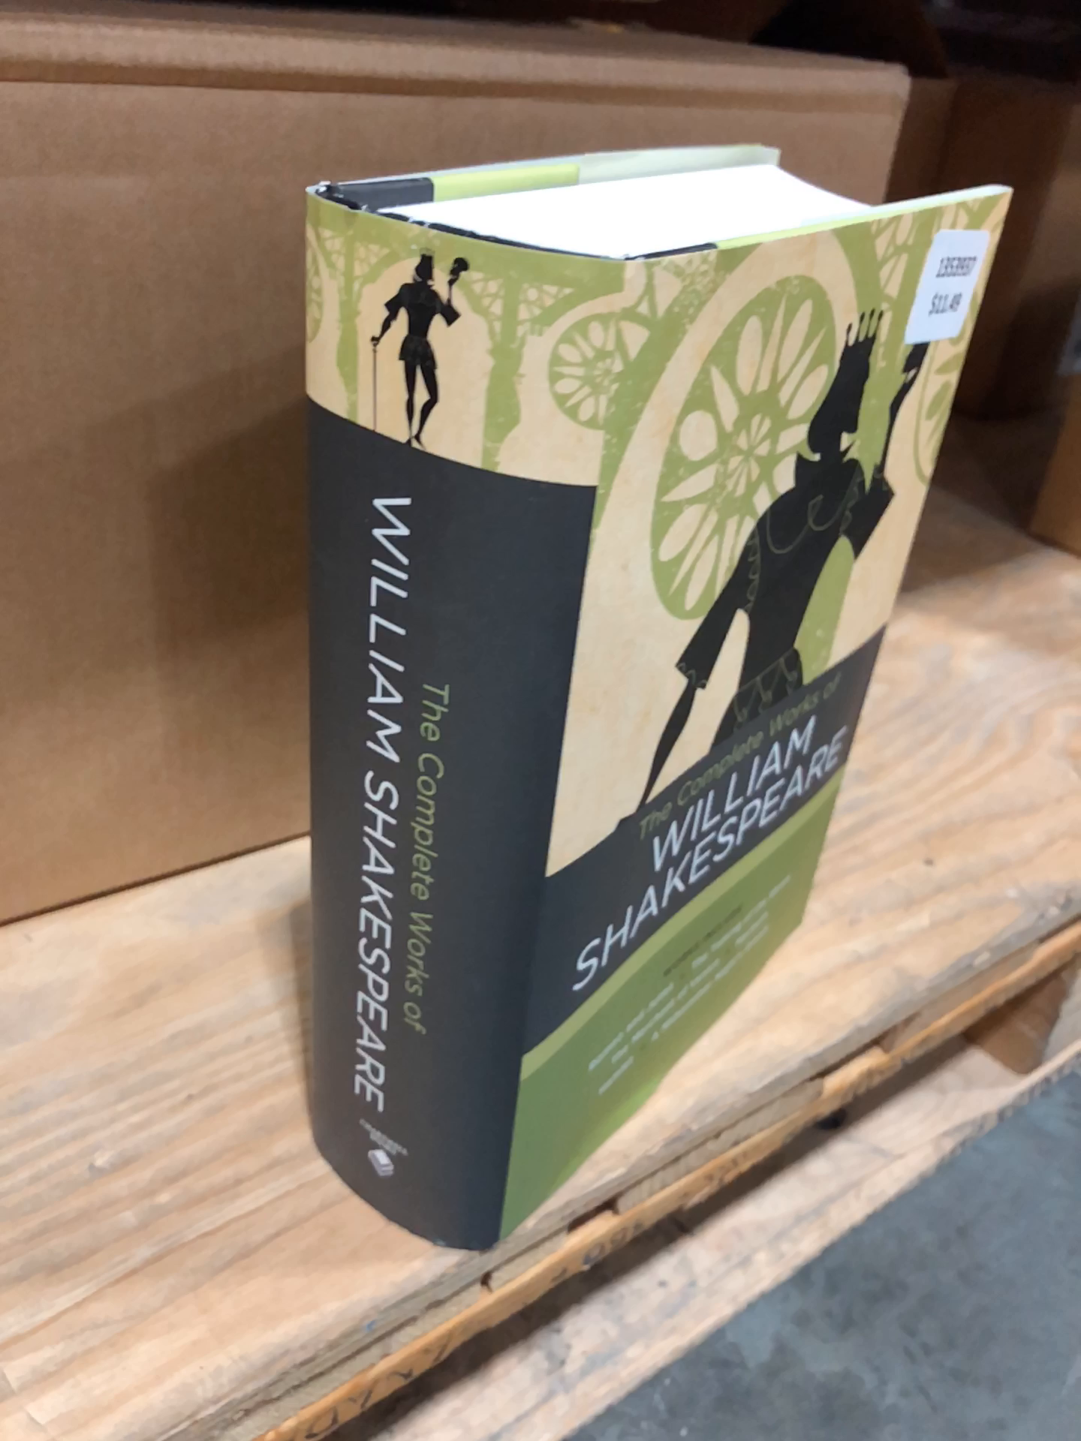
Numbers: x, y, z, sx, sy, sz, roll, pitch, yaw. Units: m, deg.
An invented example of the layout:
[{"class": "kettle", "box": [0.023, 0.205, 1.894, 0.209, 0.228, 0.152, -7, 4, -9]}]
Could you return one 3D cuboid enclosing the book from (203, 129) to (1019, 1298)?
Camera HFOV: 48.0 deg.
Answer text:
[{"class": "book", "box": [0.017, -0.011, 0.312, 0.080, 0.239, 0.182, 27, 37, 28]}]
